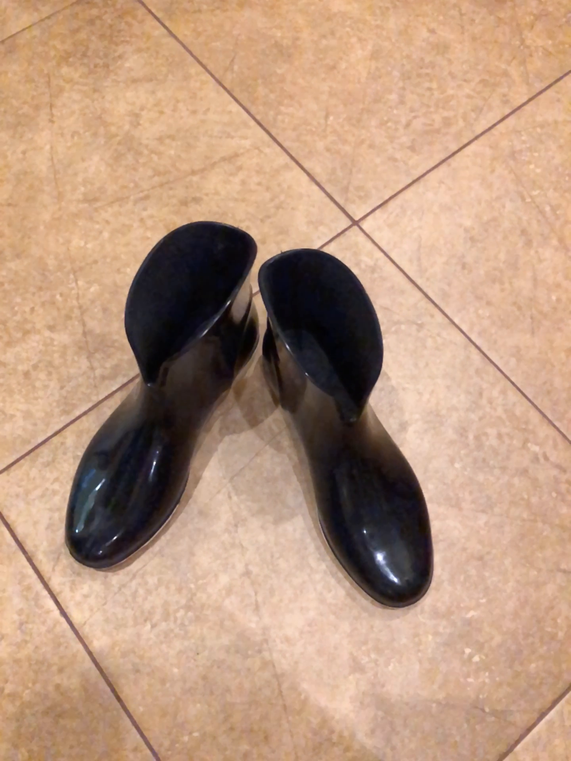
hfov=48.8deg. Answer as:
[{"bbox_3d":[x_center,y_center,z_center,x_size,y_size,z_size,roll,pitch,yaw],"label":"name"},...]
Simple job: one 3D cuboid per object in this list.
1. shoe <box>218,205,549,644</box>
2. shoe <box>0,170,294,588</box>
[{"bbox_3d":[0.046,0.038,0.434,0.090,0.170,0.240,-21,72,-8],"label":"shoe"},{"bbox_3d":[-0.096,0.011,0.444,0.090,0.170,0.240,30,72,10],"label":"shoe"}]
